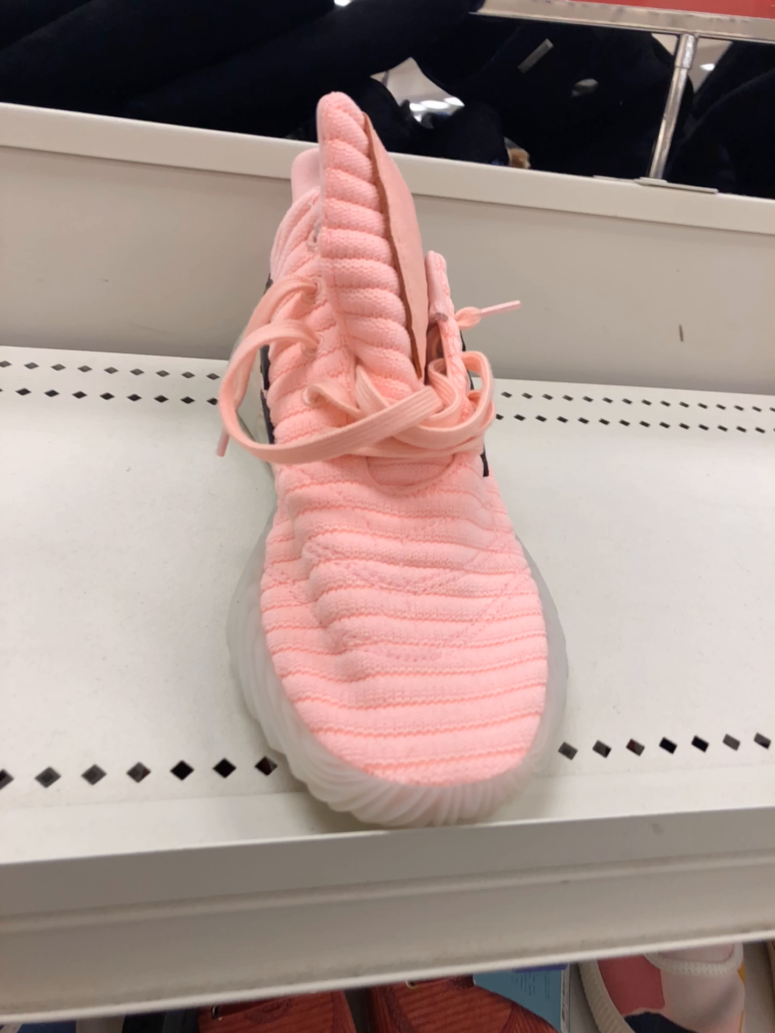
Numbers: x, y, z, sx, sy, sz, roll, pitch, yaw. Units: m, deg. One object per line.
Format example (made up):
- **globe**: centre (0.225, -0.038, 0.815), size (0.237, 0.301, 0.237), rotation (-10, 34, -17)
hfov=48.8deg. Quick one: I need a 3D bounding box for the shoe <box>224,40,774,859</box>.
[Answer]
- **shoe**: centre (0.004, -0.065, 0.331), size (0.120, 0.169, 0.323), rotation (2, 33, -11)
